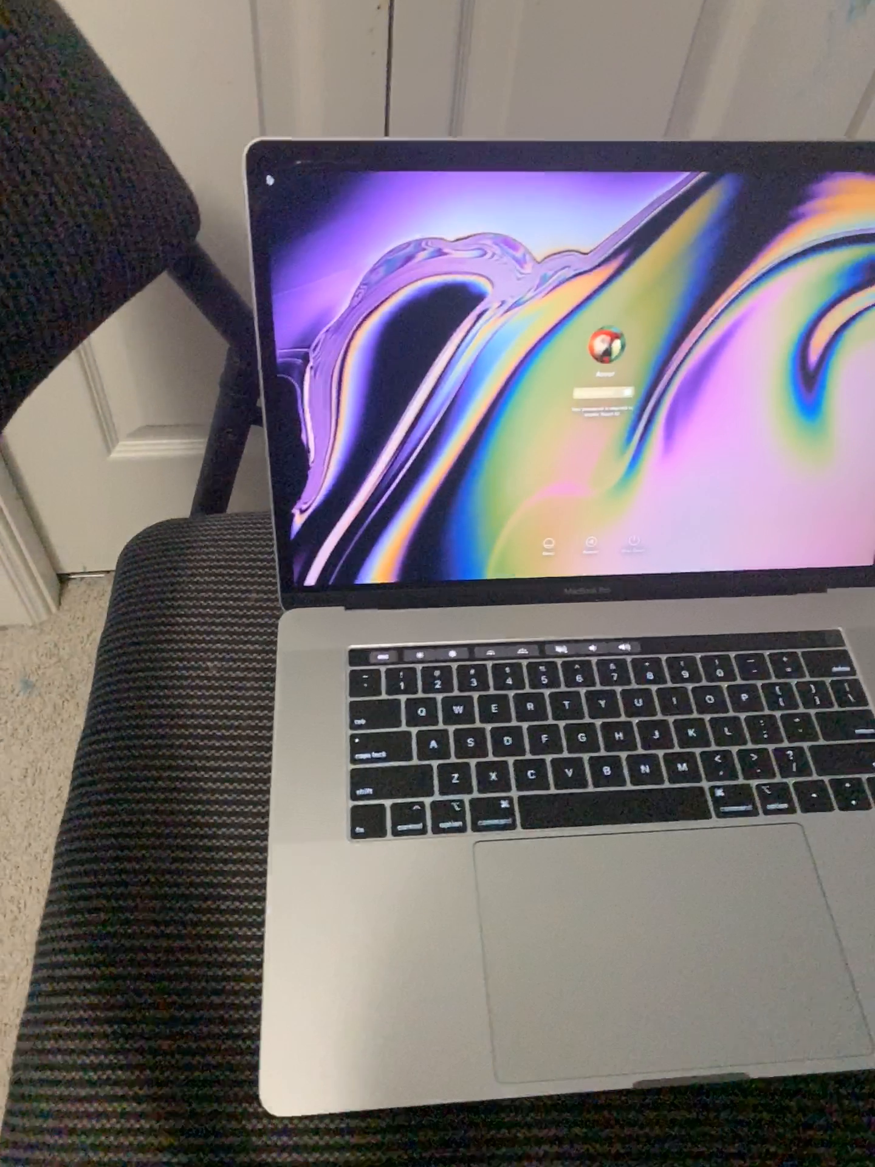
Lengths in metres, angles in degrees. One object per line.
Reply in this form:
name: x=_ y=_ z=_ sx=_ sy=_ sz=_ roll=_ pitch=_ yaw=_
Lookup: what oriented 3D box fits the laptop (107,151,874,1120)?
laptop: x=0.079 y=0.003 z=0.383 sx=0.342 sy=0.195 sz=0.353 roll=-2 pitch=54 yaw=-5
